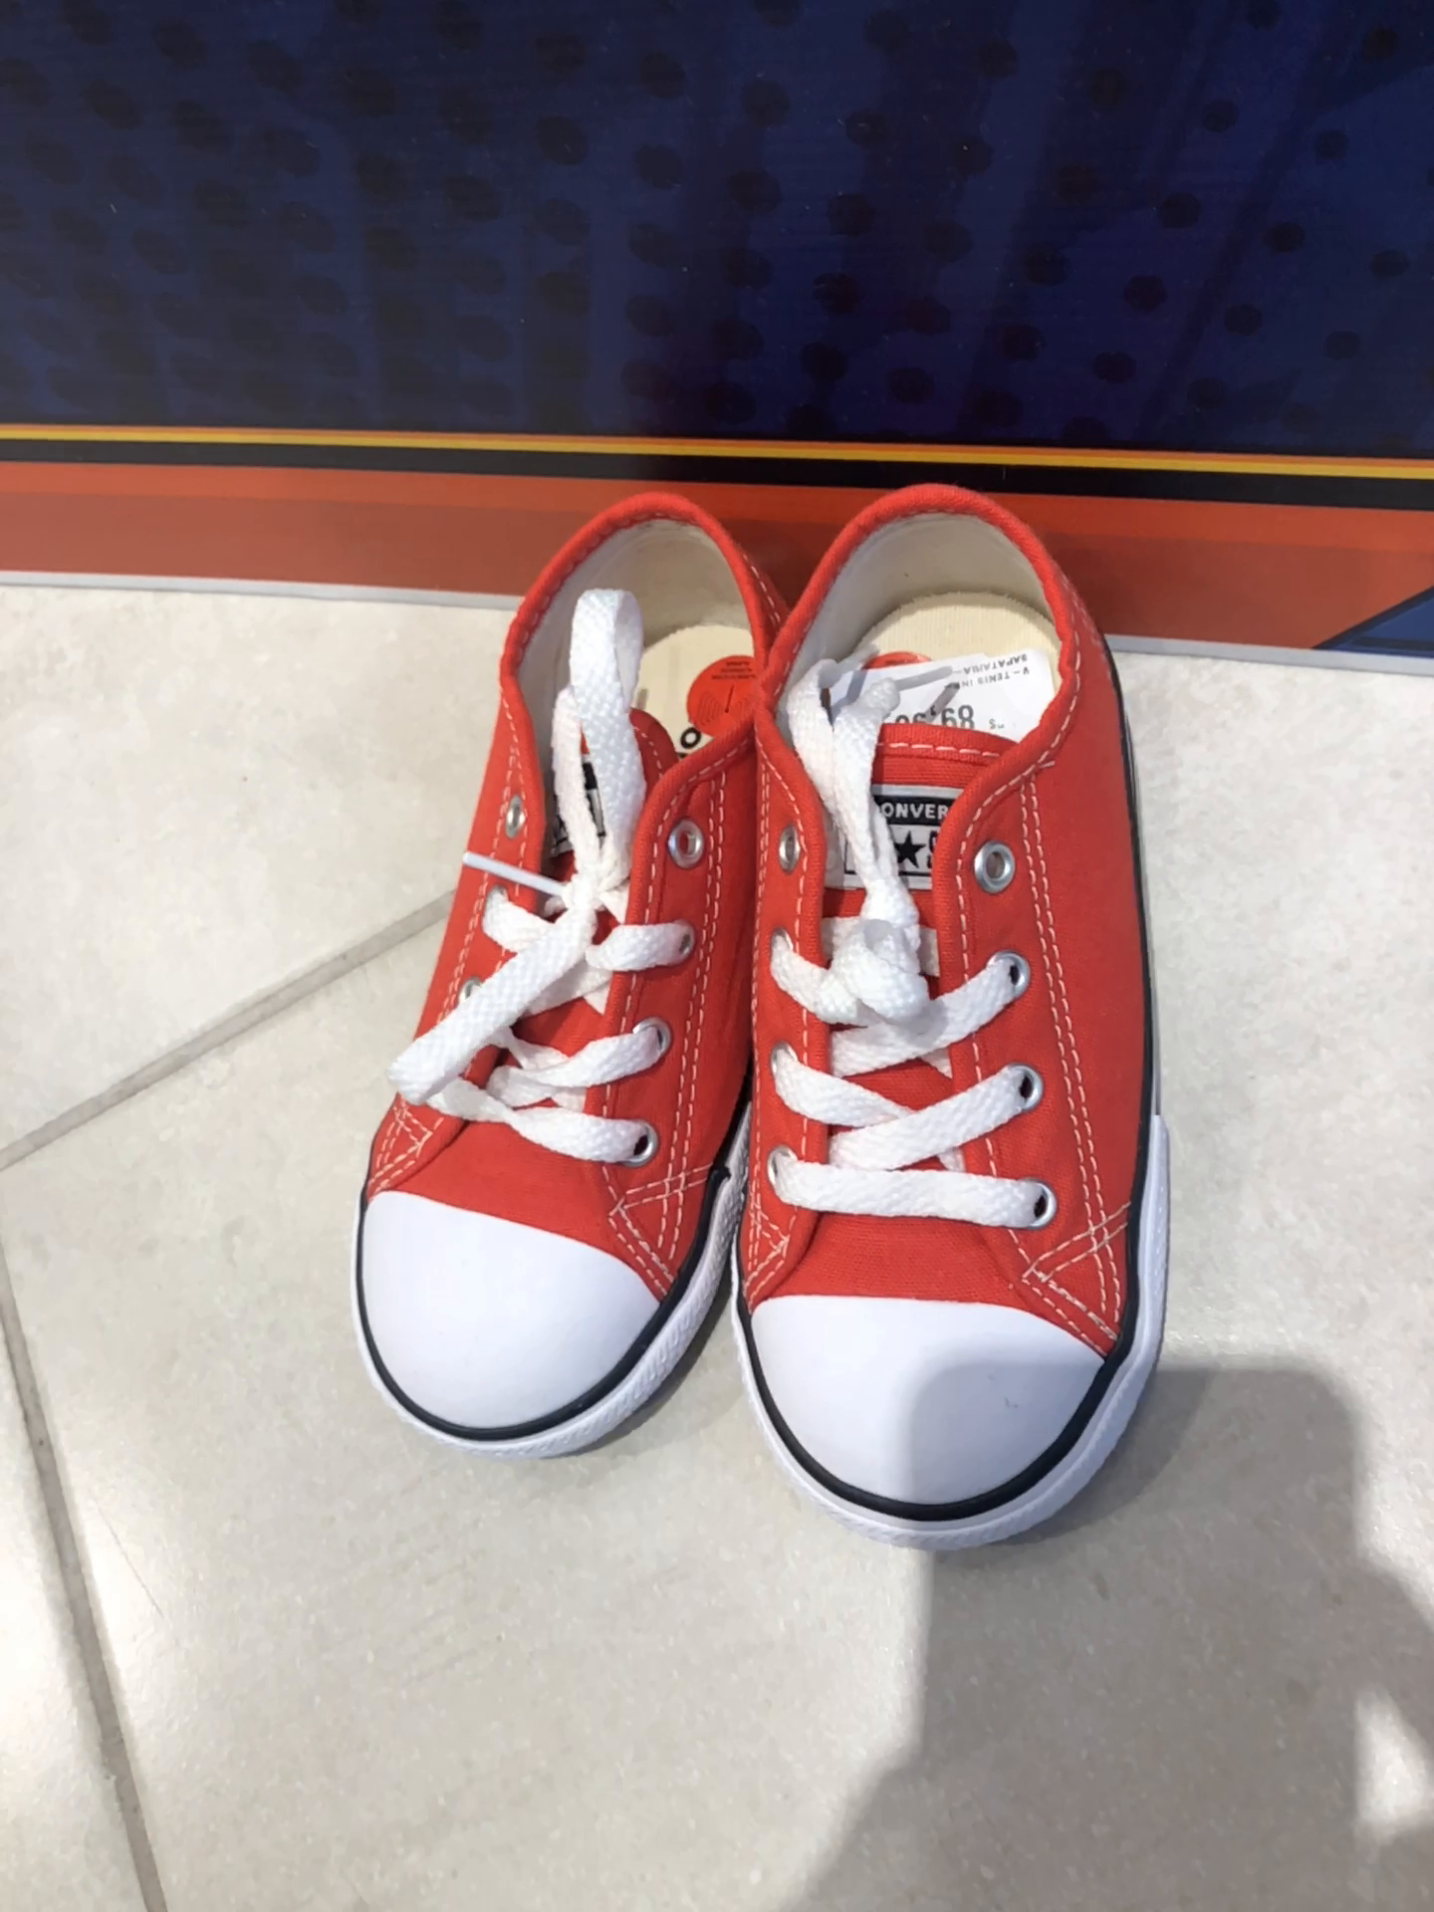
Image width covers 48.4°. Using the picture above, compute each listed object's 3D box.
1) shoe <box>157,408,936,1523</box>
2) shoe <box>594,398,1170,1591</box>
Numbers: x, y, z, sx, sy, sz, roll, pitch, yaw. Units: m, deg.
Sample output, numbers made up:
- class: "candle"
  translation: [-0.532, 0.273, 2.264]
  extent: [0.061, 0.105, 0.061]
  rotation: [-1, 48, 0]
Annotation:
- class: "shoe"
  translation: [-0.022, -0.001, 0.303]
  extent: [0.080, 0.070, 0.190]
  rotation: [9, 74, 20]
- class: "shoe"
  translation: [0.039, 0.006, 0.286]
  extent: [0.080, 0.070, 0.190]
  rotation: [0, 71, 17]
